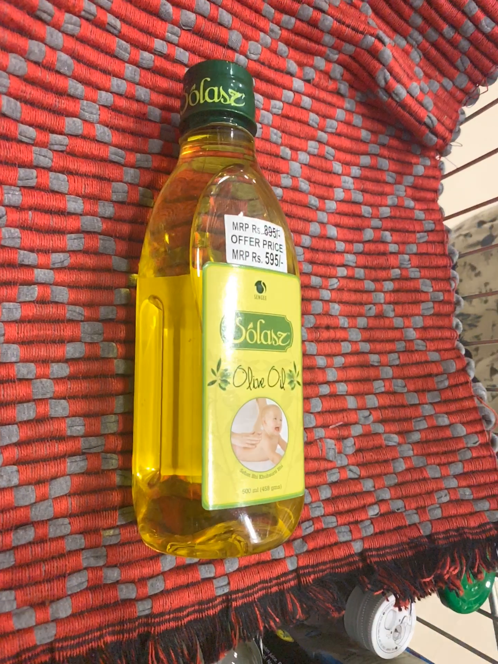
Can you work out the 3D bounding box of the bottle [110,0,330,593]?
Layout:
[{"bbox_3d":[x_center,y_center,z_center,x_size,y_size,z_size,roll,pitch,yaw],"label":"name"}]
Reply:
[{"bbox_3d":[-0.015,-0.017,0.229,0.070,0.060,0.220,5,80,-33],"label":"bottle"}]
